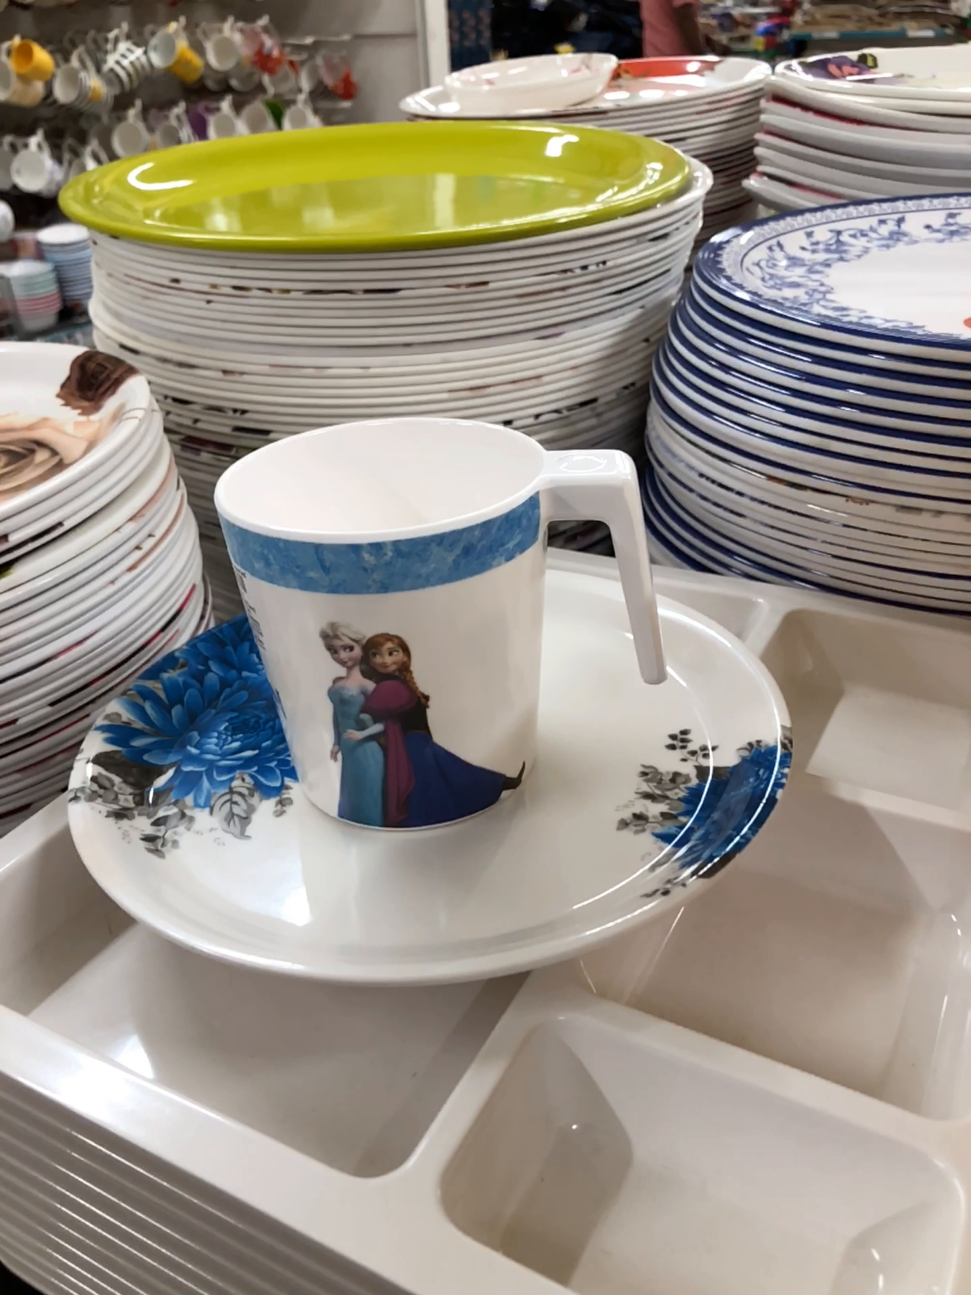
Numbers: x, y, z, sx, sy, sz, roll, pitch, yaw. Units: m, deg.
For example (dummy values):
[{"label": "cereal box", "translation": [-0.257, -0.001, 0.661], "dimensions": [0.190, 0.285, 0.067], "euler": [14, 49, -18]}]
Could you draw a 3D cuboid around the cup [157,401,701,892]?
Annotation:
[{"label": "cup", "translation": [-0.004, -0.005, 0.269], "dimensions": [0.110, 0.089, 0.081], "euler": [2, 31, 10]}]
